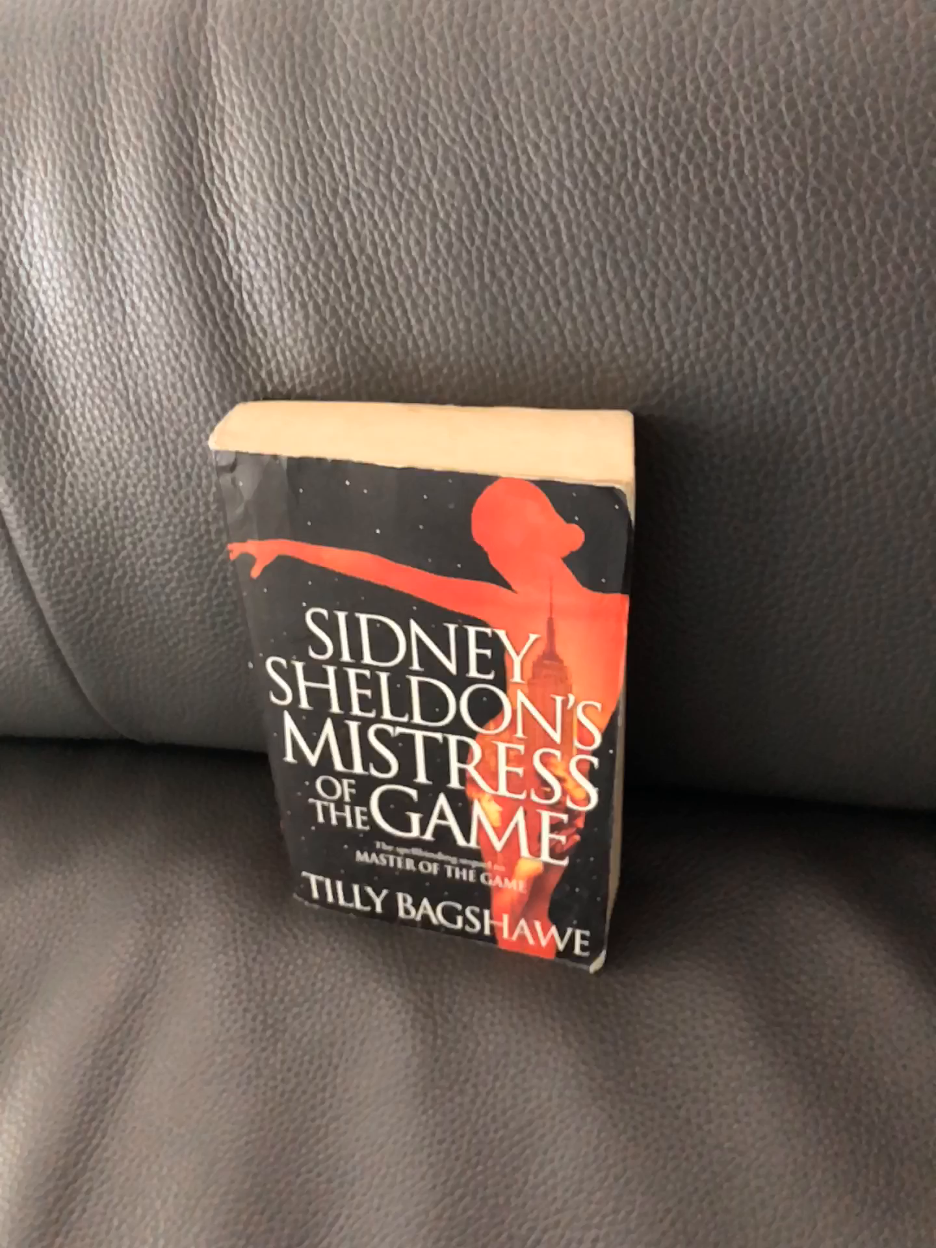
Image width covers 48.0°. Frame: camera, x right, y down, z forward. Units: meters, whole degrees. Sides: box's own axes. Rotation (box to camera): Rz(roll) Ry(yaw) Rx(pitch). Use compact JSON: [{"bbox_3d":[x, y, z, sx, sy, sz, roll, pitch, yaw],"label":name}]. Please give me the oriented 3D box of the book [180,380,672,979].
[{"bbox_3d":[-0.005,0.022,0.322,0.118,0.179,0.046,8,38,16],"label":"book"}]
